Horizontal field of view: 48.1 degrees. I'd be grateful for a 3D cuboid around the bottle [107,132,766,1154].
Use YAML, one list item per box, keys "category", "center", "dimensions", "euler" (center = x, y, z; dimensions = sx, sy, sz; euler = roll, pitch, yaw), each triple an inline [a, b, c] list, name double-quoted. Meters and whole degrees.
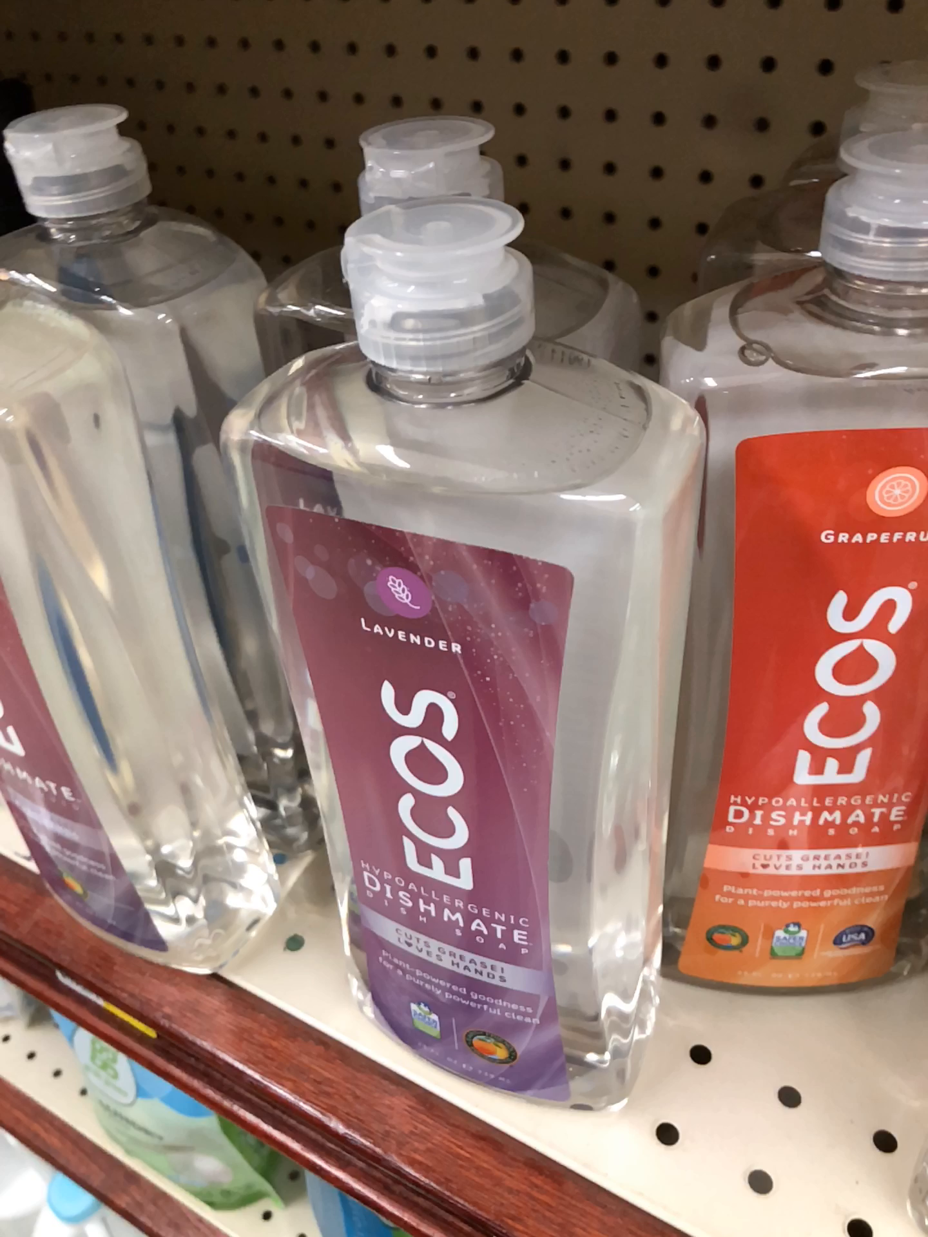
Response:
- category: "bottle"
  center: [0.005, 0.027, 0.238]
  dimensions: [0.090, 0.243, 0.048]
  euler: [15, 44, 23]
